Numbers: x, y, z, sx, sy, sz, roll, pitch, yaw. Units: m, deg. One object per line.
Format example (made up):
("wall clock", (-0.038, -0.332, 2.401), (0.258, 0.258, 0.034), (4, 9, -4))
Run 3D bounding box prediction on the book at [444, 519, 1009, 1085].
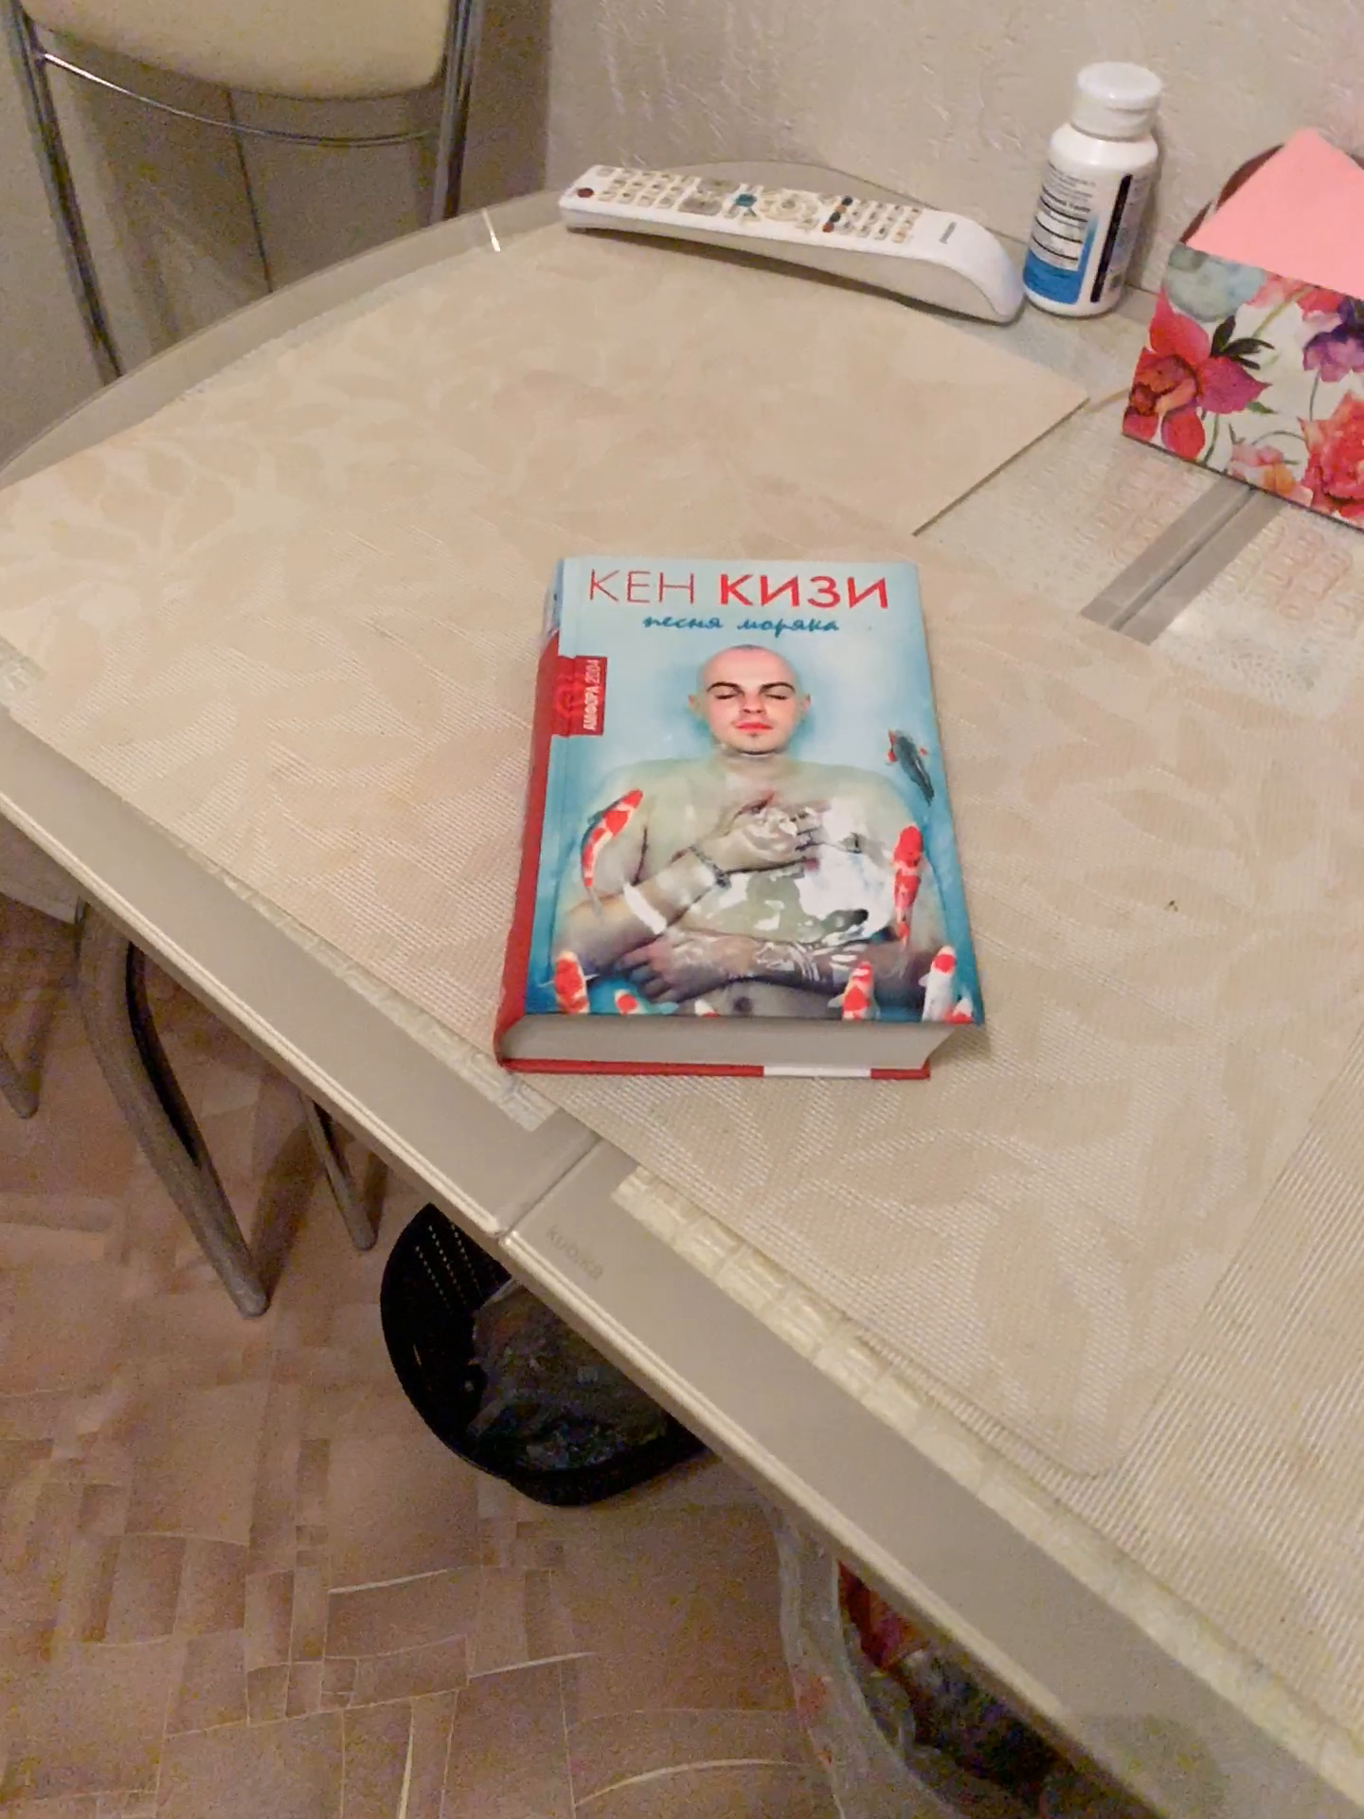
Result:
("book", (0.013, -0.045, 0.453), (0.150, 0.040, 0.212), (1, 51, 0))
